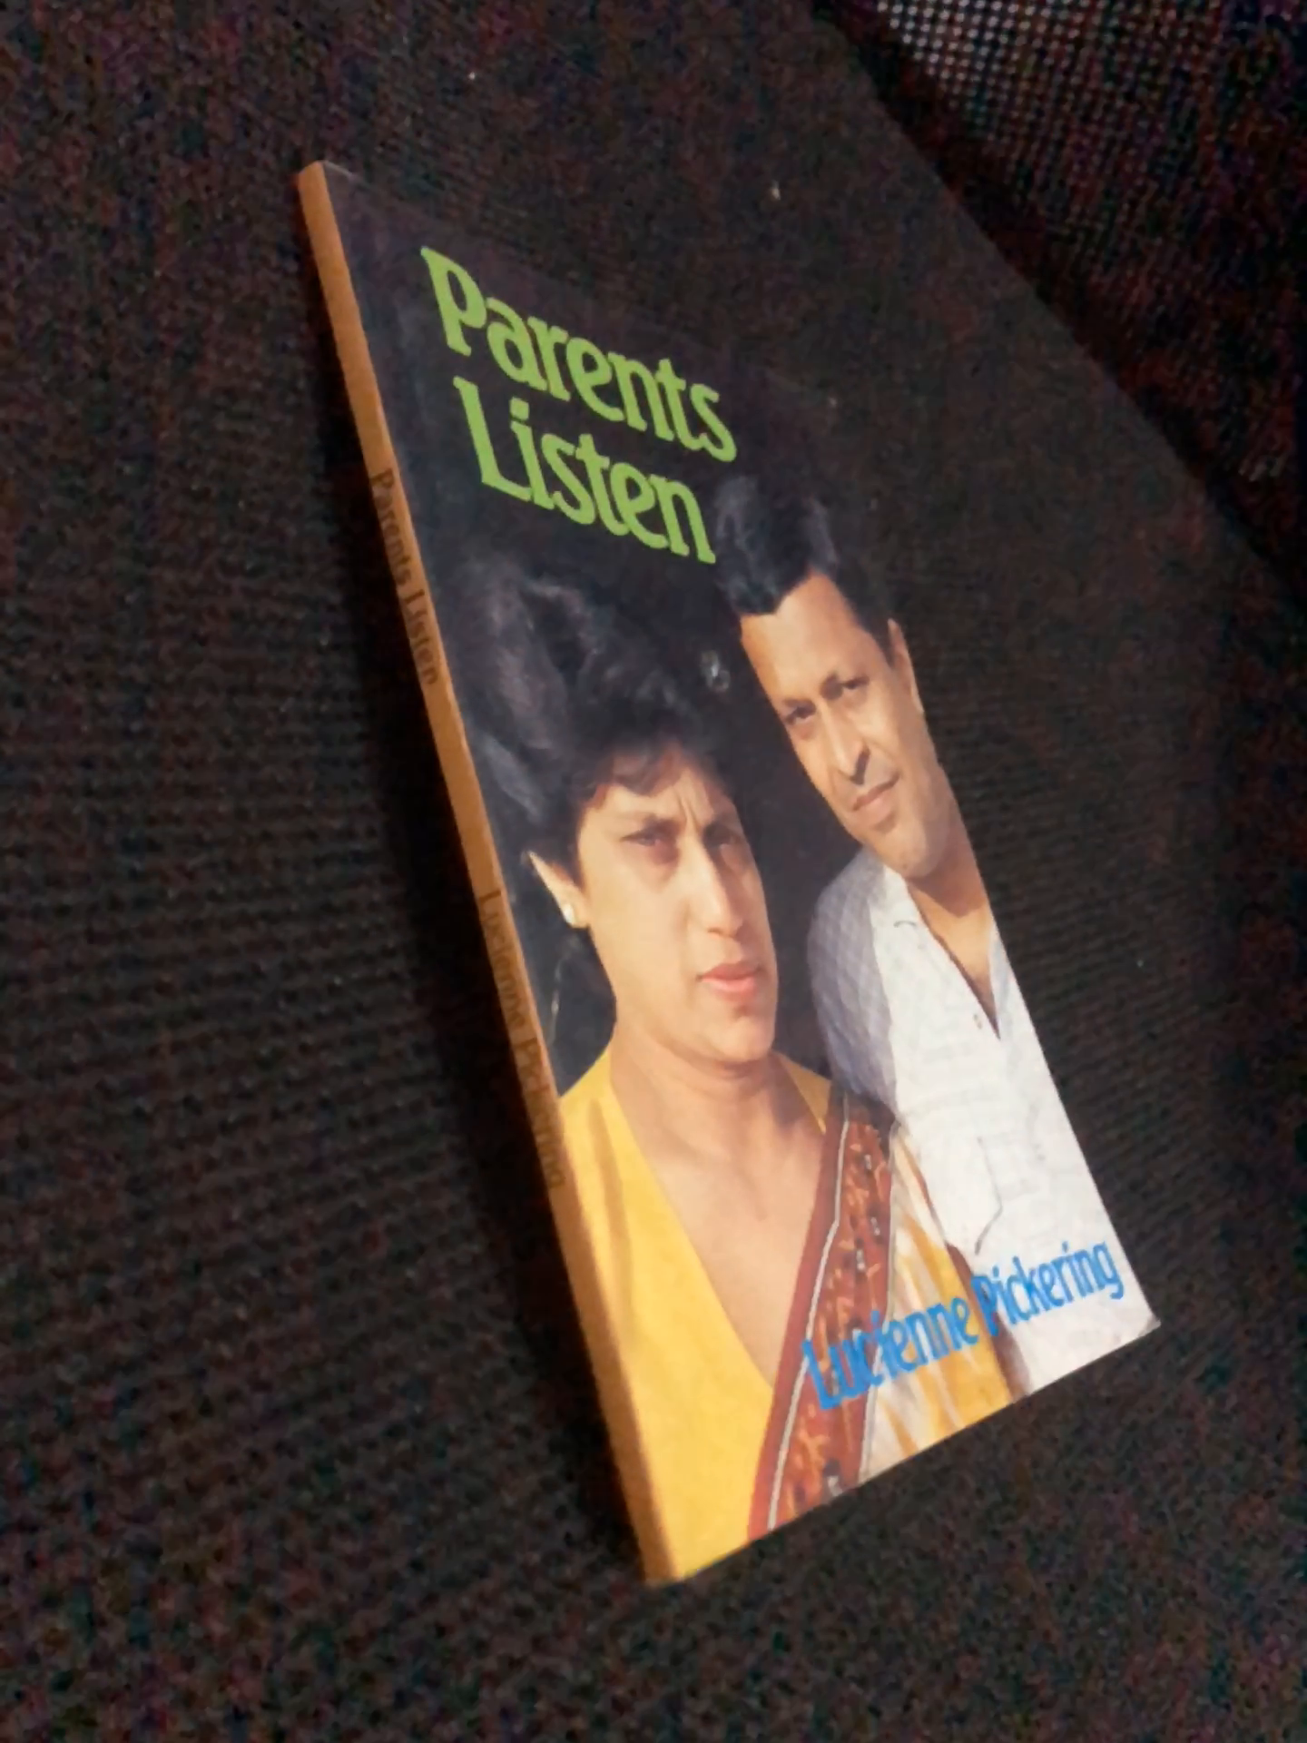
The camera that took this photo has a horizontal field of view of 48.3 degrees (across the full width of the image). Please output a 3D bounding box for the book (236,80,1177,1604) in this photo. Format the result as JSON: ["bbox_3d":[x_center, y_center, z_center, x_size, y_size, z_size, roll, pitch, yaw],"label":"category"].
[{"bbox_3d":[0.015,-0.013,0.220,0.130,0.010,0.190,3,65,-49],"label":"book"}]
